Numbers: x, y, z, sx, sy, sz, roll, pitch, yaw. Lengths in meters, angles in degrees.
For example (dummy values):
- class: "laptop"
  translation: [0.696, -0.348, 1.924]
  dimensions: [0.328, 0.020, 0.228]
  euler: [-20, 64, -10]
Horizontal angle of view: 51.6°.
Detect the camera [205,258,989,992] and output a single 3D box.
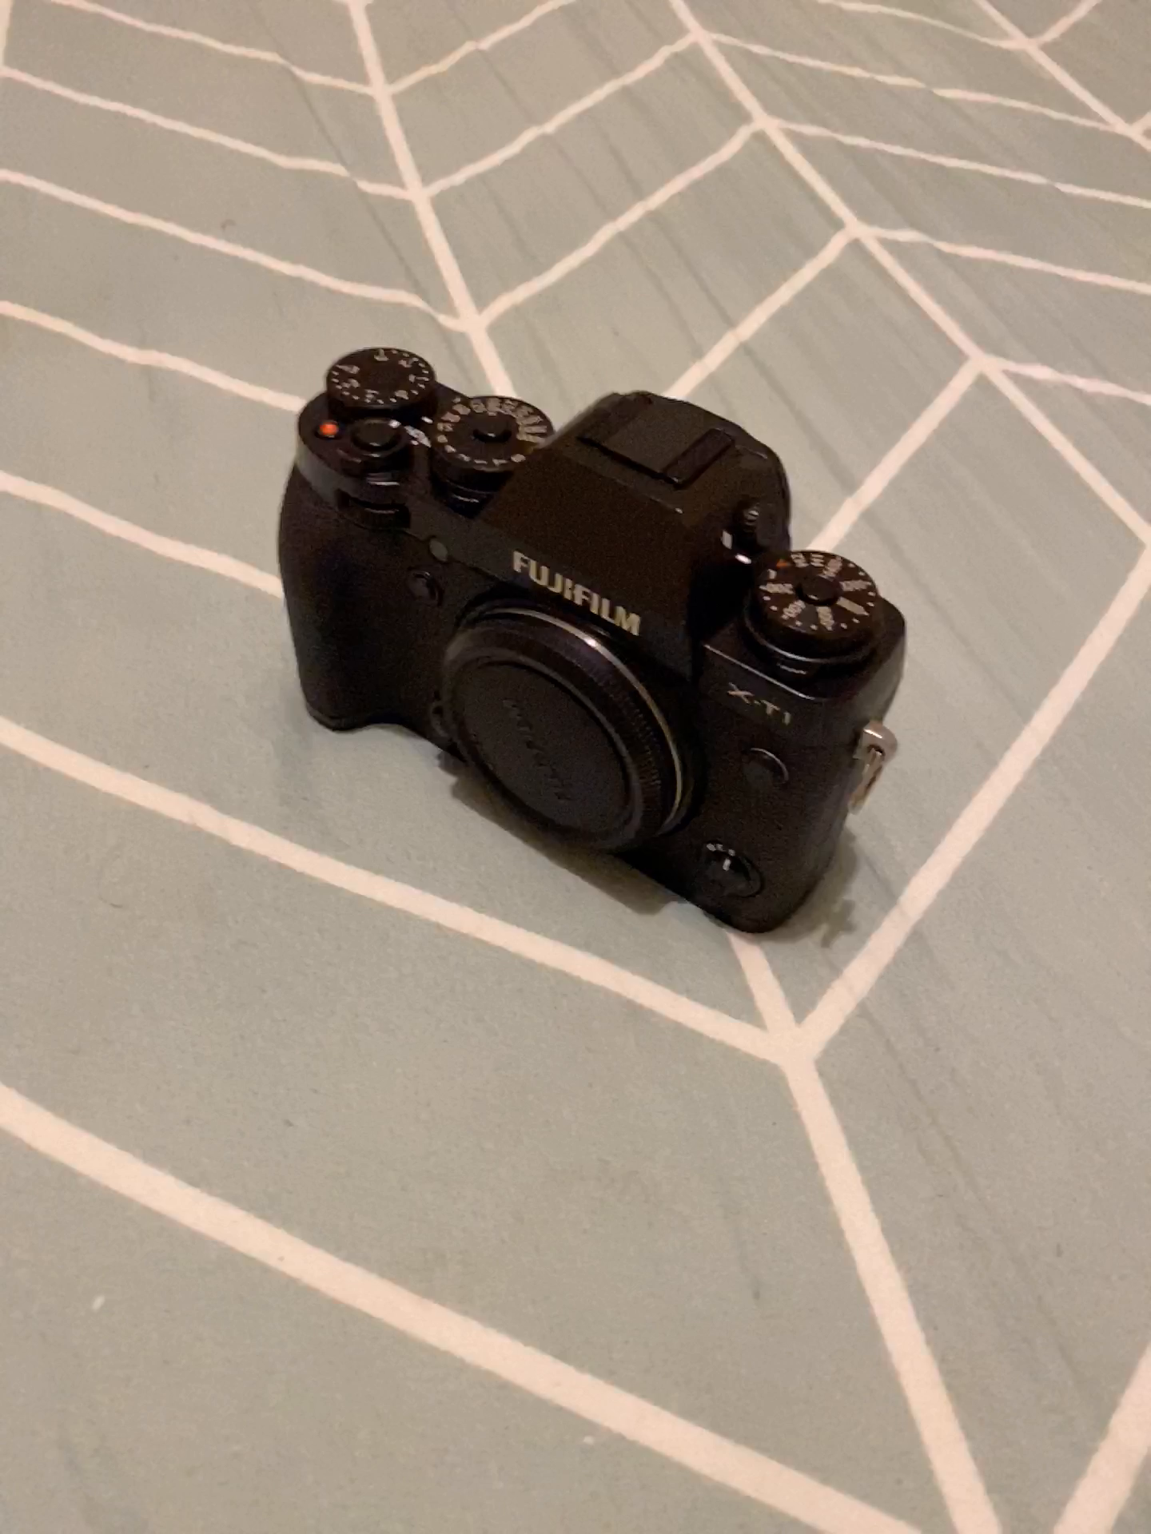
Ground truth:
- class: "camera"
  translation: [-0.001, -0.030, 0.239]
  dimensions: [0.130, 0.087, 0.052]
  euler: [30, 55, 20]
